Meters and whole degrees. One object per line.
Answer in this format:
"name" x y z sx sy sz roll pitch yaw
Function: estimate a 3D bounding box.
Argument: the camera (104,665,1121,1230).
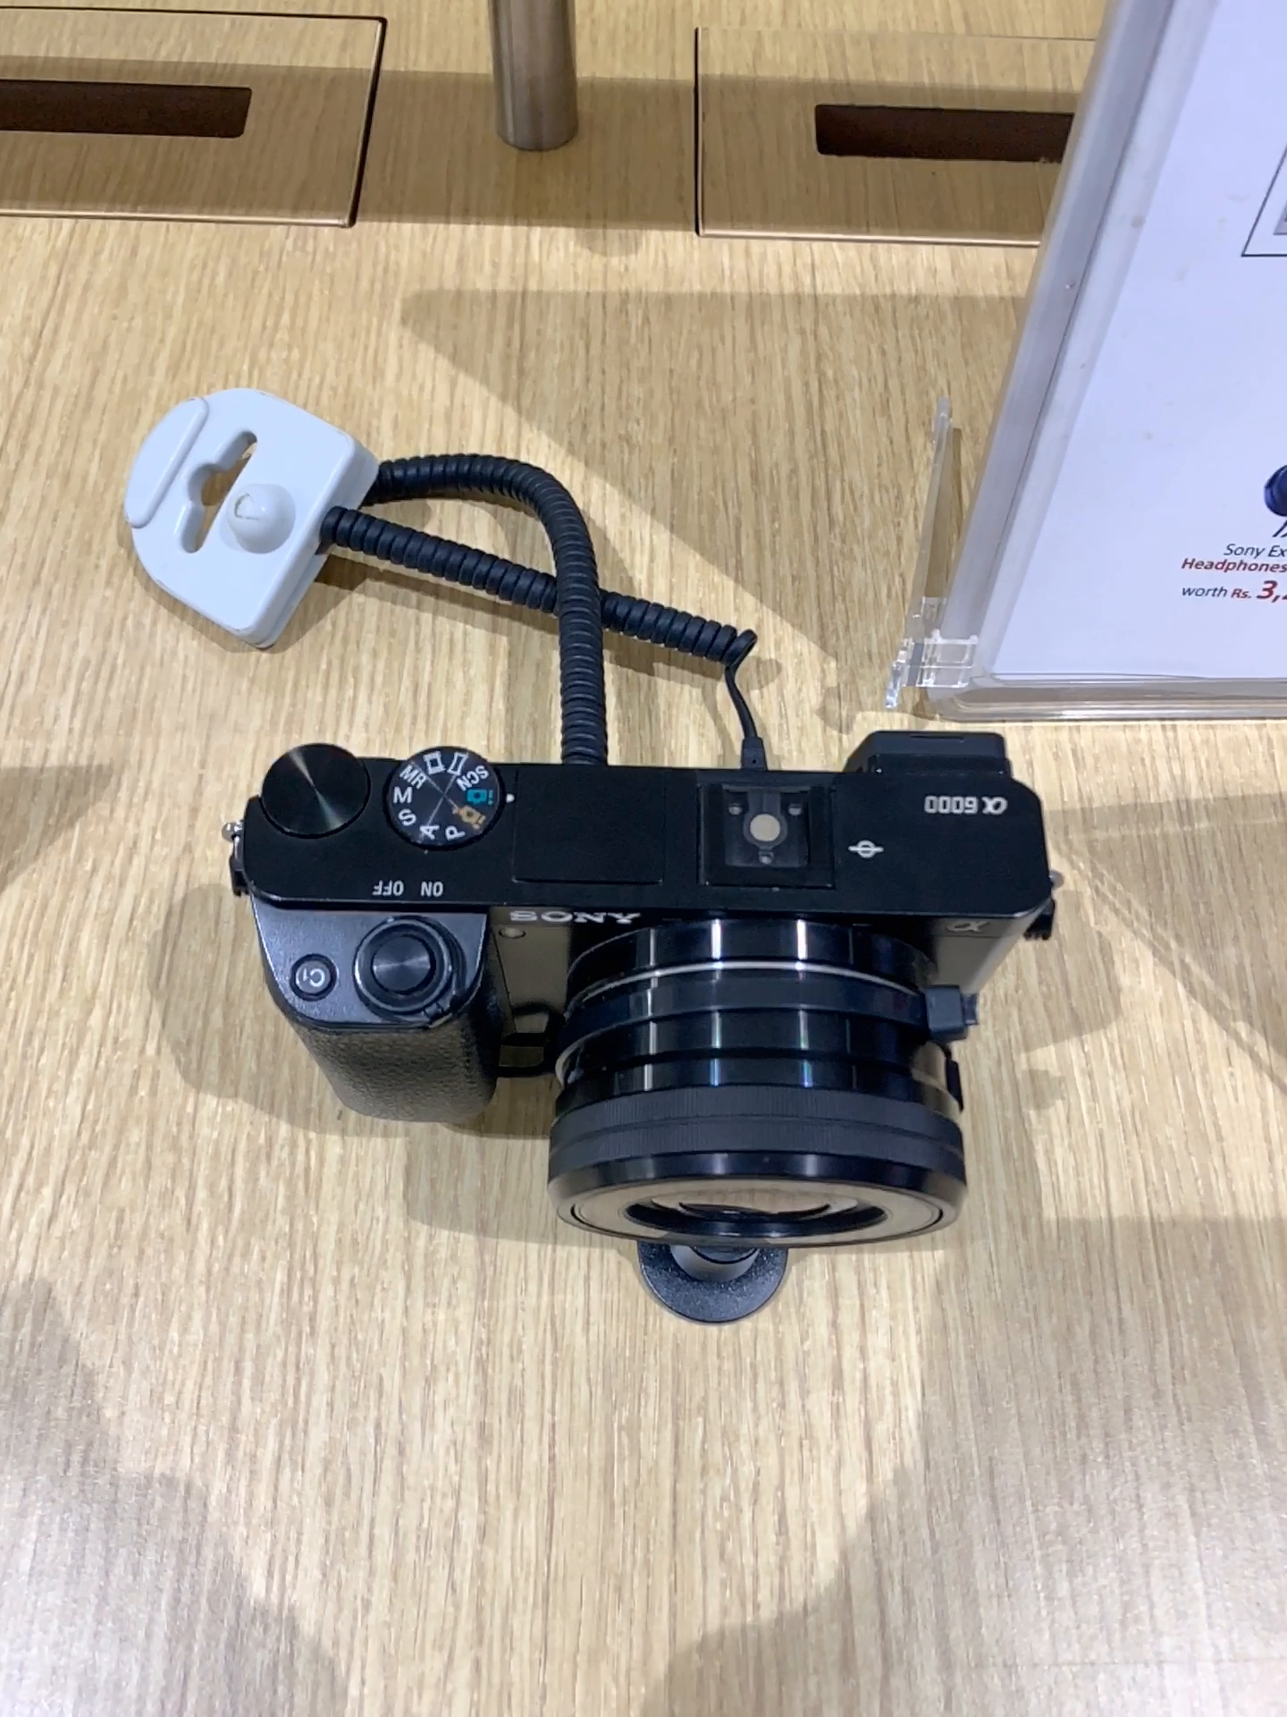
"camera" -0.004 0.018 0.217 0.130 0.070 0.070 0 64 -1
